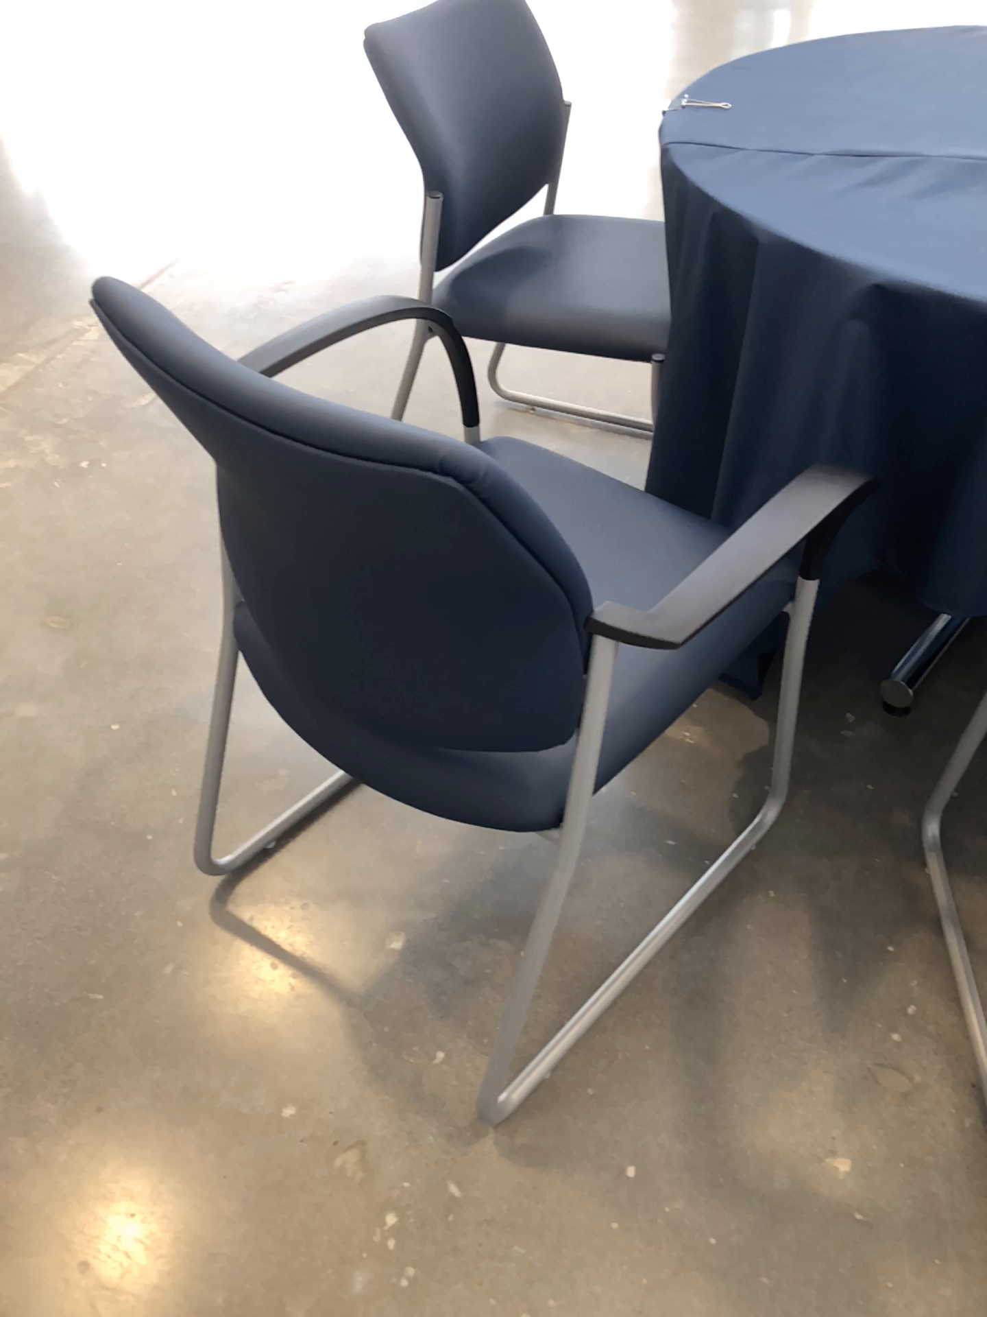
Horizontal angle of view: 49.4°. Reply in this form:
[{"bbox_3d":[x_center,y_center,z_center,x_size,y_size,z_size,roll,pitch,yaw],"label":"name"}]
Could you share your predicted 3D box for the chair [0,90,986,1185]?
[{"bbox_3d":[-0.009,-0.070,1.166,0.642,0.765,0.672,30,51,31],"label":"chair"}]
